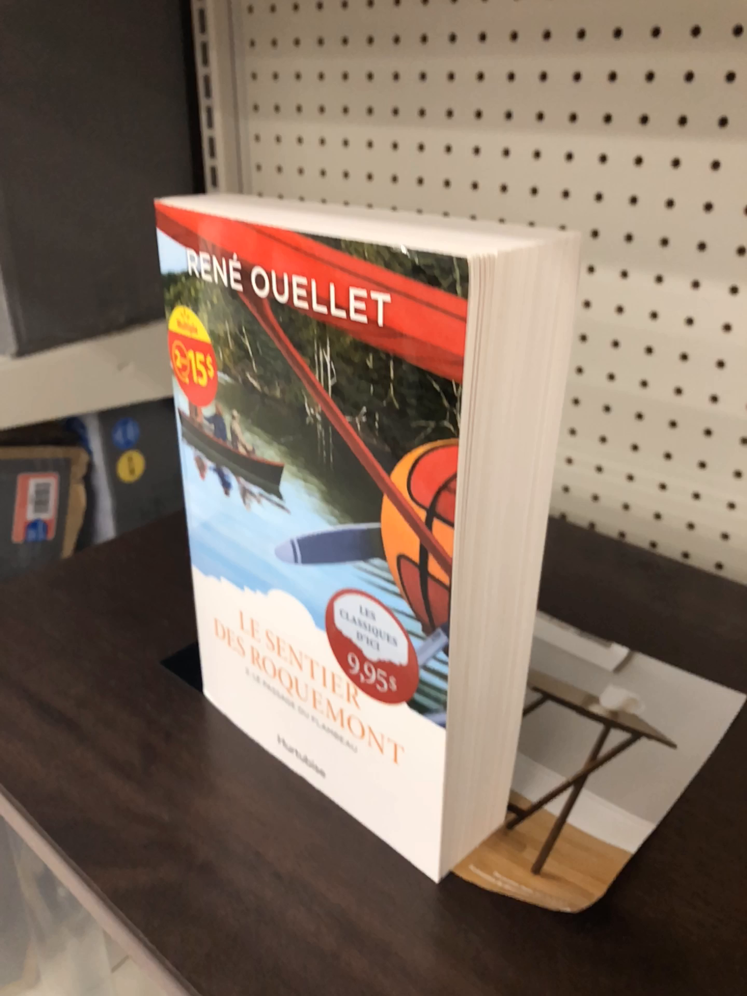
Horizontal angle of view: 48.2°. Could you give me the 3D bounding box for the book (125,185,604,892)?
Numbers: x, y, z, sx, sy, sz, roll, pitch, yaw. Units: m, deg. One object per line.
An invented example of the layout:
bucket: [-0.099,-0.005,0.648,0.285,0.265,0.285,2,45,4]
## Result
book: [-0.013,0.005,0.313,0.153,0.215,0.065,24,33,39]
